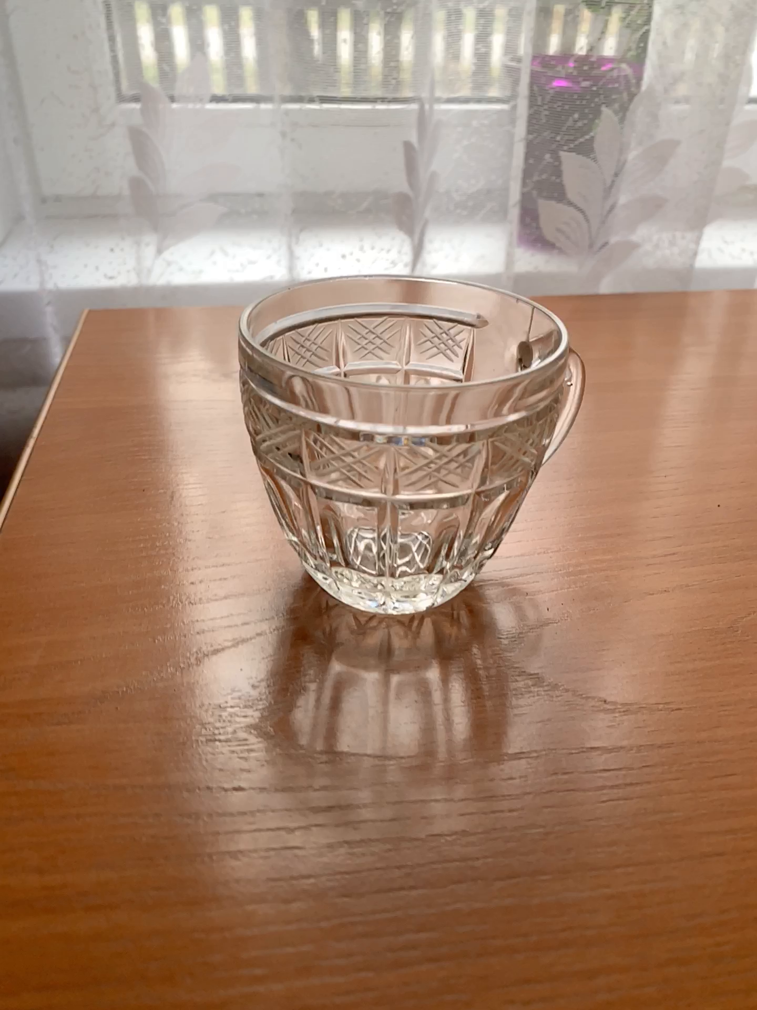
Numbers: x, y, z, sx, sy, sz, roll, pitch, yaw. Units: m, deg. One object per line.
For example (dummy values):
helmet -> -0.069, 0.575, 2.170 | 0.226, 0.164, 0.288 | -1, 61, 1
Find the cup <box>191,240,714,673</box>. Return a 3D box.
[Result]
cup -> 0.012, -0.021, 0.209 | 0.101, 0.066, 0.083 | -11, 37, -18
